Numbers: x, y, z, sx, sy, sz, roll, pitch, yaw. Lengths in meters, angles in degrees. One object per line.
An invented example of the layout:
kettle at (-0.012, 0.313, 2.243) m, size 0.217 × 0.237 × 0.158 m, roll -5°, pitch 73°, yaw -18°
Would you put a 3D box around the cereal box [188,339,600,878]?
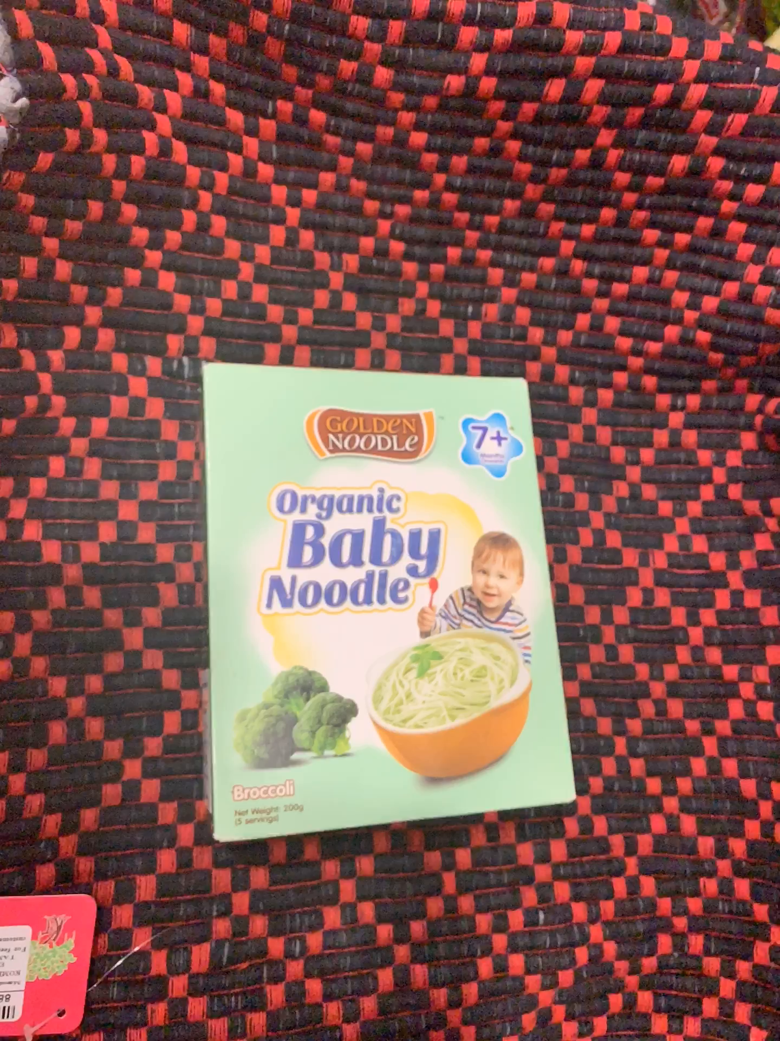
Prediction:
cereal box at (-0.005, 0.028, 0.303) m, size 0.130 × 0.060 × 0.170 m, roll 0°, pitch 77°, yaw -17°
